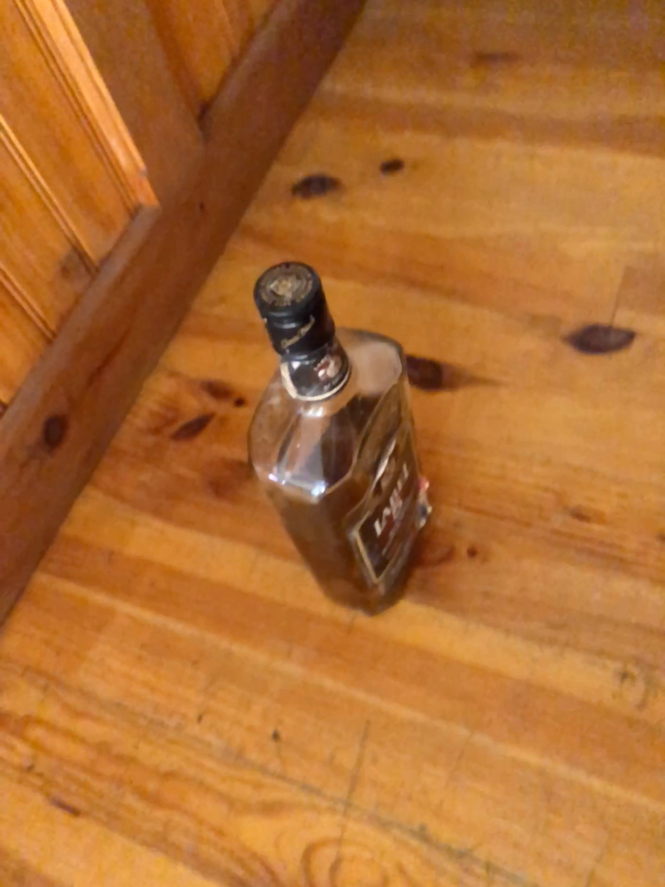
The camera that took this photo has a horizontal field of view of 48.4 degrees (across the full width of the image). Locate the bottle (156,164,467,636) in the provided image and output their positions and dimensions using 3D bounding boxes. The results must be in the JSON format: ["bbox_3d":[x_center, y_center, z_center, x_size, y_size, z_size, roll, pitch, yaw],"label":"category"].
[{"bbox_3d":[0.016,0.002,0.430,0.080,0.289,0.120,19,66,21],"label":"bottle"}]
